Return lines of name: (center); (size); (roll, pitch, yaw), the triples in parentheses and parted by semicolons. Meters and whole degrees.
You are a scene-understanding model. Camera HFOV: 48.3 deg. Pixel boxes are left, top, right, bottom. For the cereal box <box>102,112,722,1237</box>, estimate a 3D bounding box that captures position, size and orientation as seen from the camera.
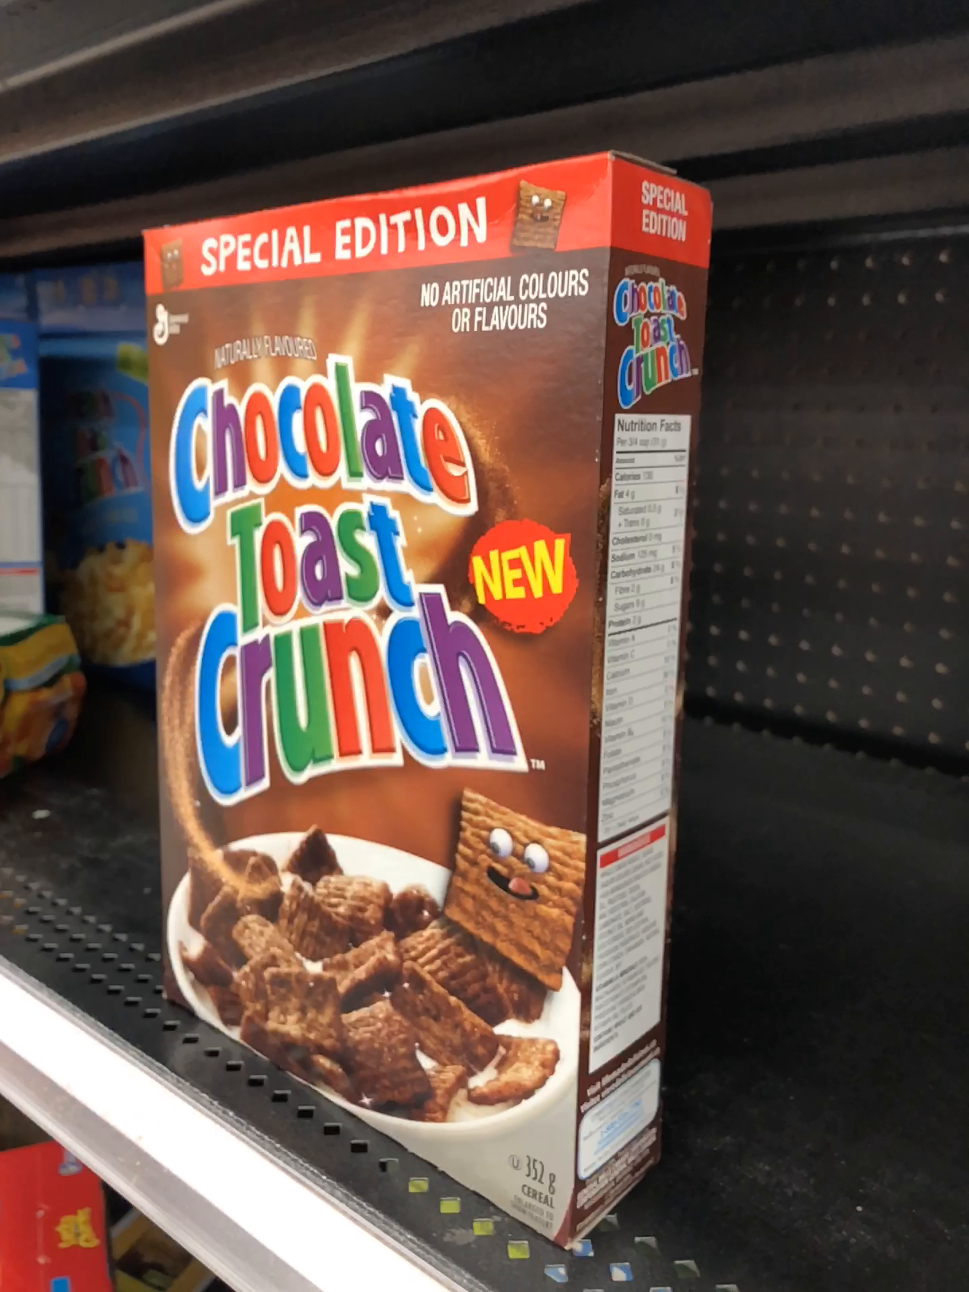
cereal box: (-0.037, 0.001, 0.335); (0.200, 0.269, 0.050); (11, 14, 40)
